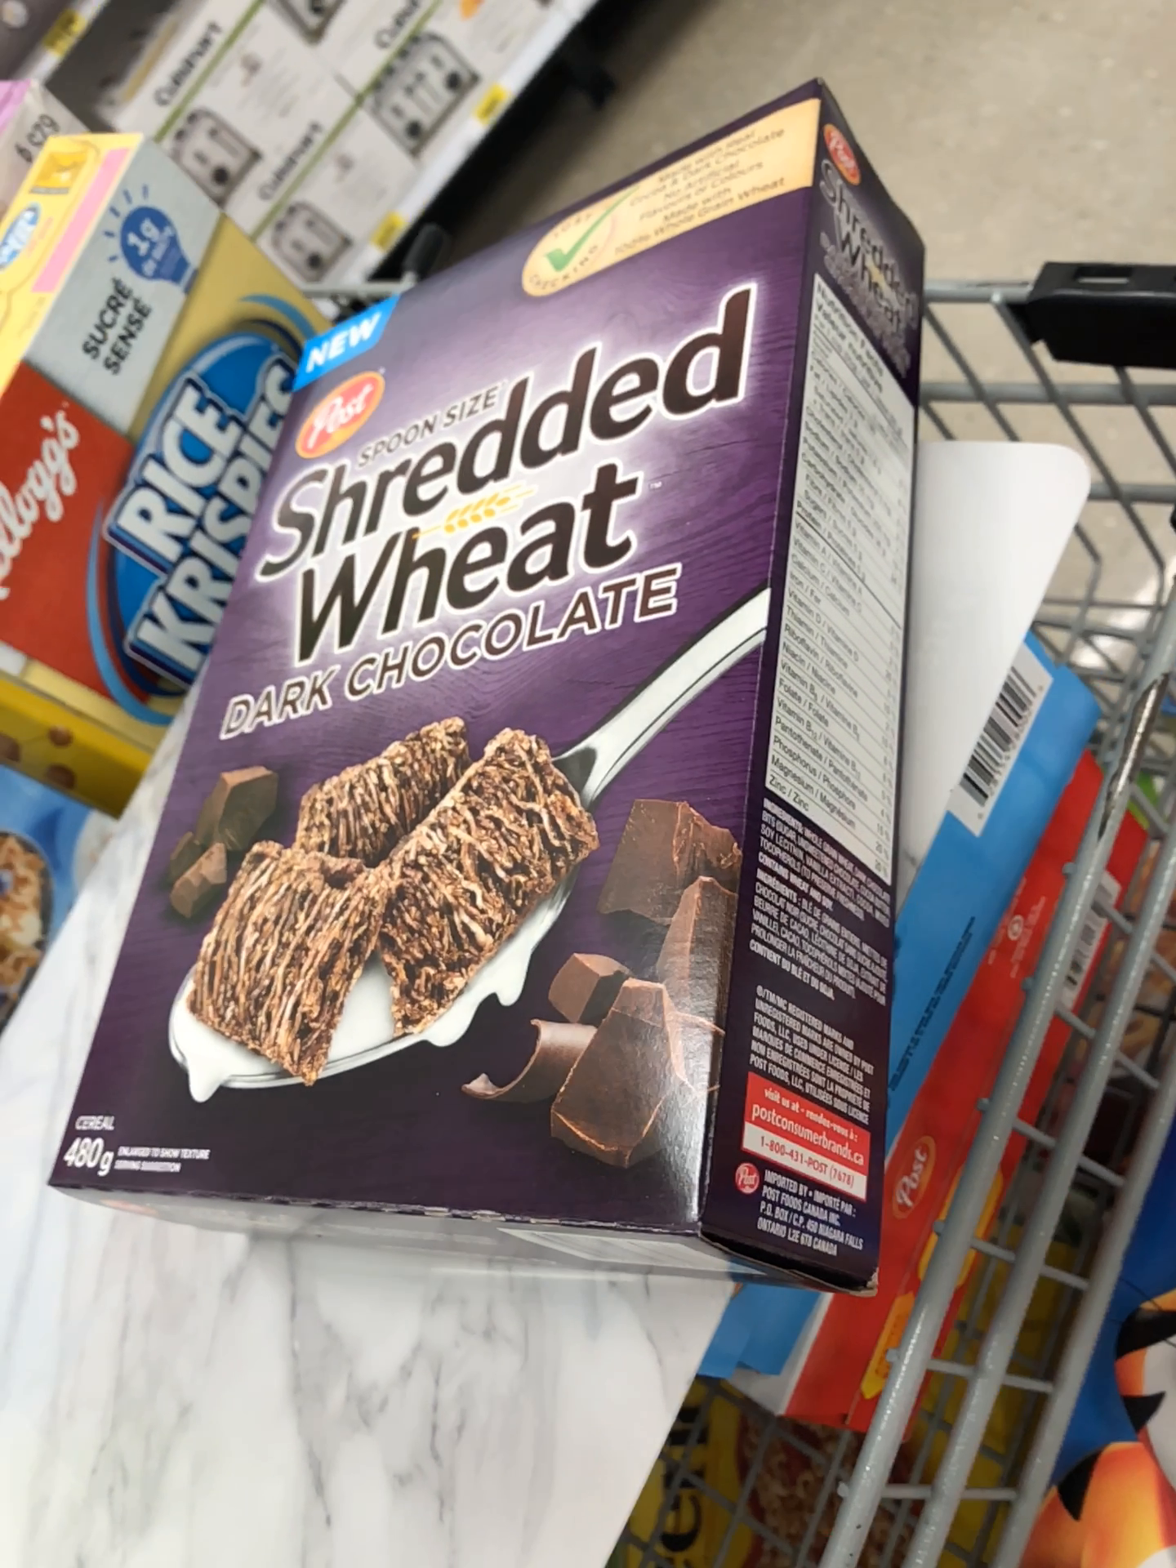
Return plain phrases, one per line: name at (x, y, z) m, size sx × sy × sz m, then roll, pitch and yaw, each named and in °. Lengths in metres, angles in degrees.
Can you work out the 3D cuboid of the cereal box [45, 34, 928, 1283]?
cereal box at (-0.018, -0.032, 0.355) m, size 0.191 × 0.070 × 0.290 m, roll -9°, pitch 61°, yaw 35°
